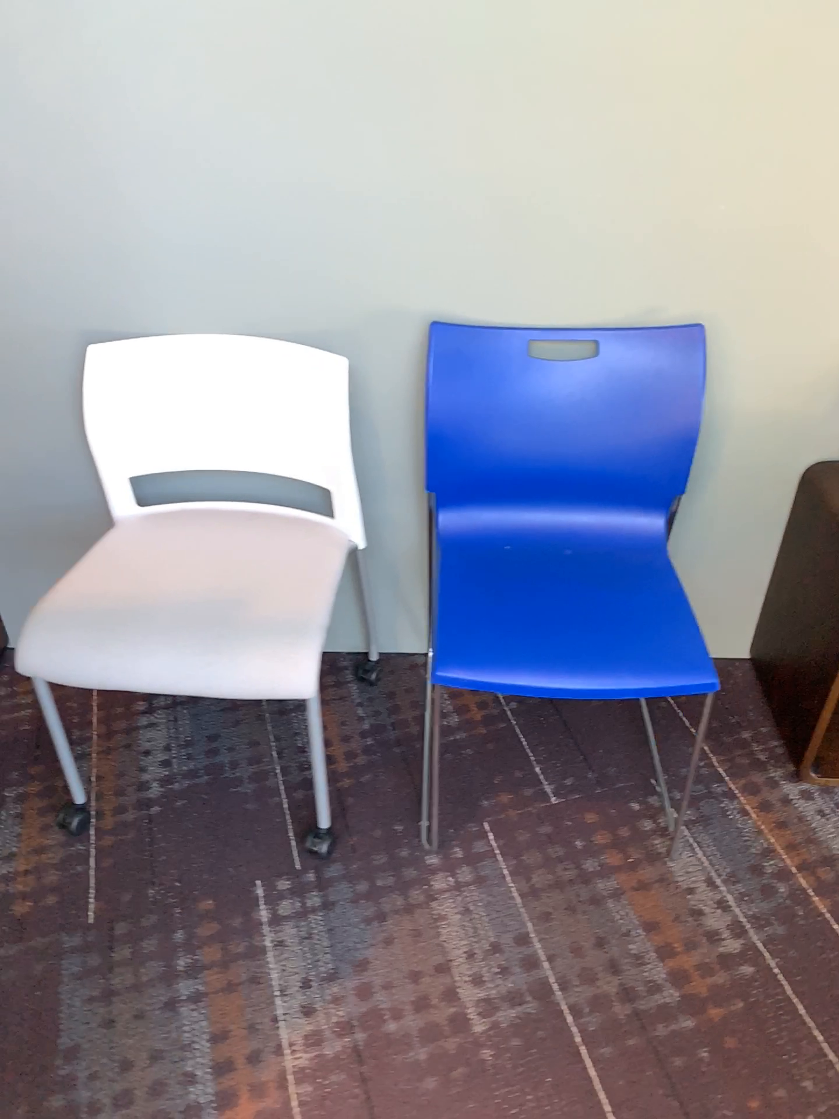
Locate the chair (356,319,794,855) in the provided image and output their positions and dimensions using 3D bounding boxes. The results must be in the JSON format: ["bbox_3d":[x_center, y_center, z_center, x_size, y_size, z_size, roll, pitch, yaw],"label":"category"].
[{"bbox_3d":[0.222,0.025,1.626,0.590,0.796,0.623,1,30,2],"label":"chair"}]

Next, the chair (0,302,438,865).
[{"bbox_3d":[-0.337,0.040,1.527,0.590,0.795,0.563,0,34,-9],"label":"chair"}]
